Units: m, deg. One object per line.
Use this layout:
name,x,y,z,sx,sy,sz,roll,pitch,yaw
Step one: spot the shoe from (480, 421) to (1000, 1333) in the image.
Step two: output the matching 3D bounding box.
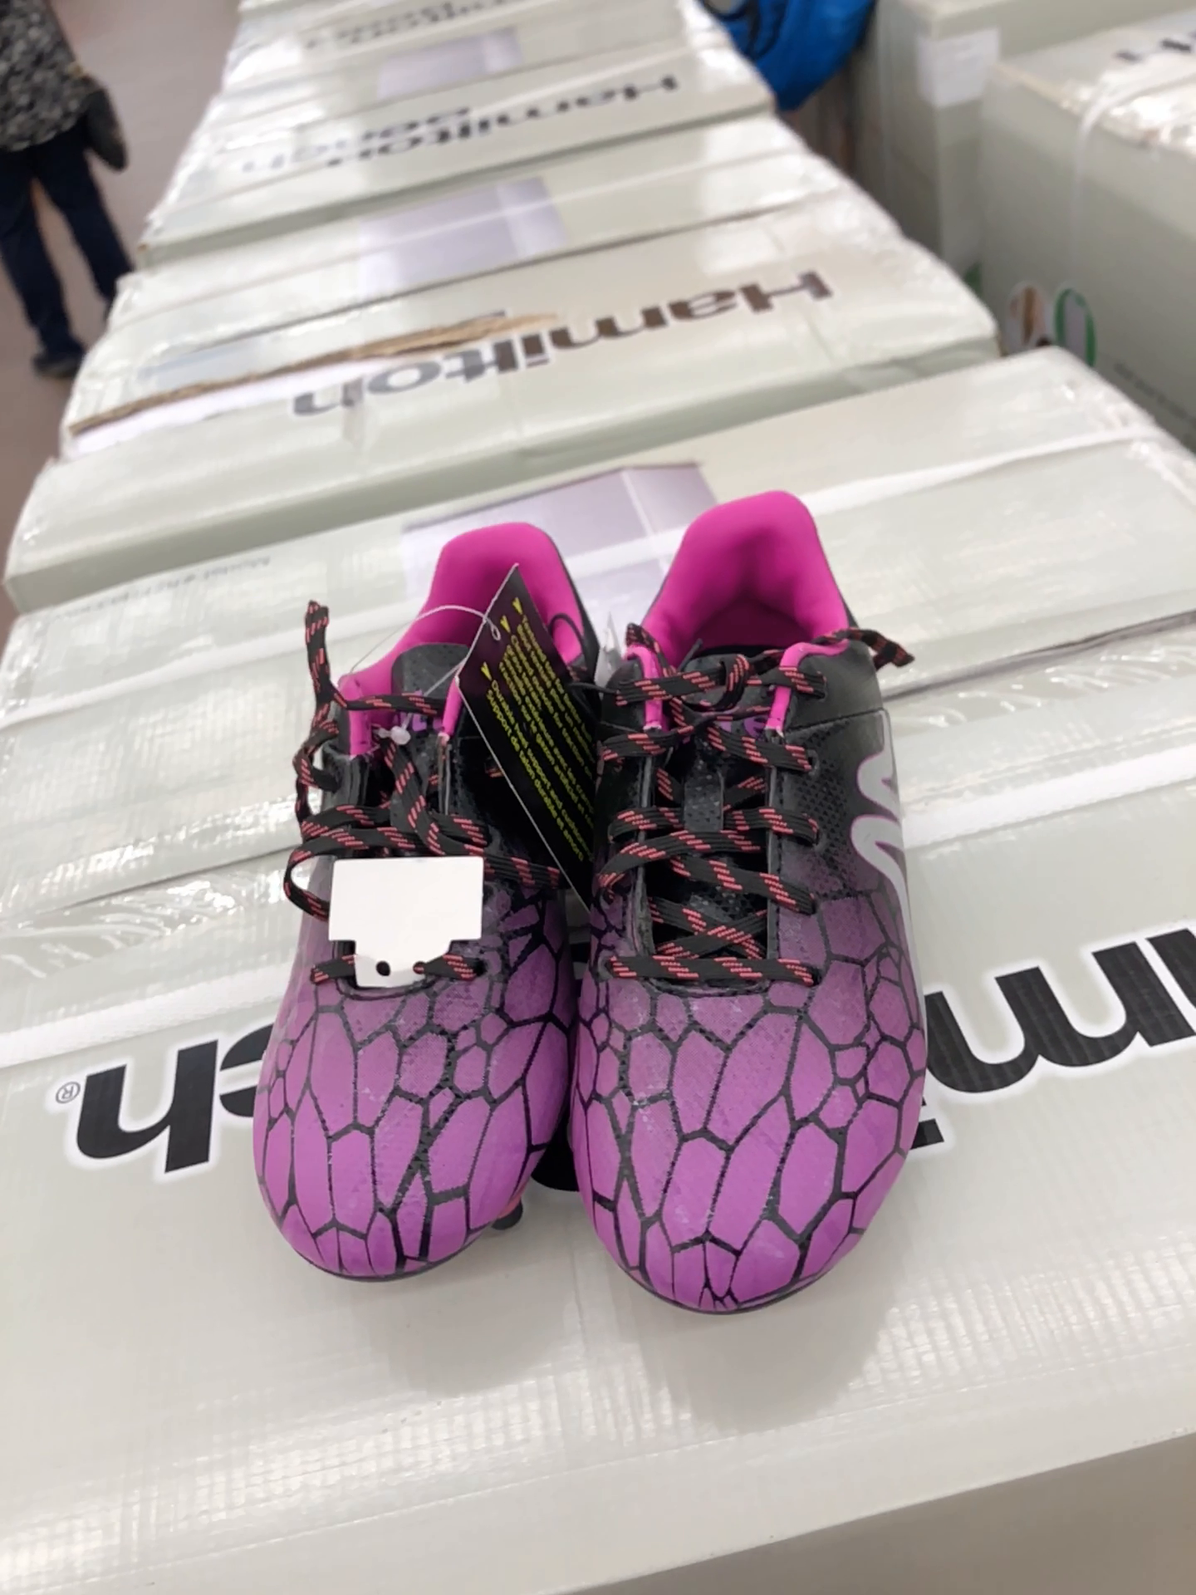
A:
shoe,0.039,0.003,0.310,0.080,0.080,0.211,-5,41,12

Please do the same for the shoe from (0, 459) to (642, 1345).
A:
shoe,-0.046,0.010,0.322,0.080,0.080,0.211,-4,41,13
